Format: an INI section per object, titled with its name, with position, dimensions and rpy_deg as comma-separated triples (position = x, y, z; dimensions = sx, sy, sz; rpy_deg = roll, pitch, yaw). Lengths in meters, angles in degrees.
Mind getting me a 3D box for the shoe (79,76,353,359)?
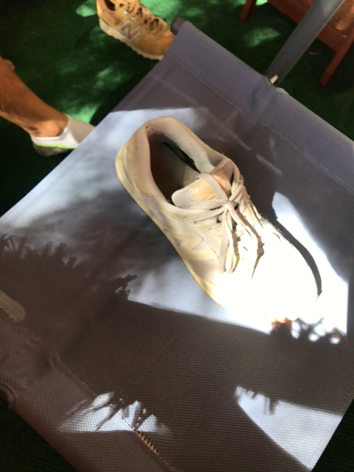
[shoe]
position = 0.042, -0.027, 0.422
dimensions = 0.125, 0.104, 0.287
rpy_deg = -40, 69, -16
